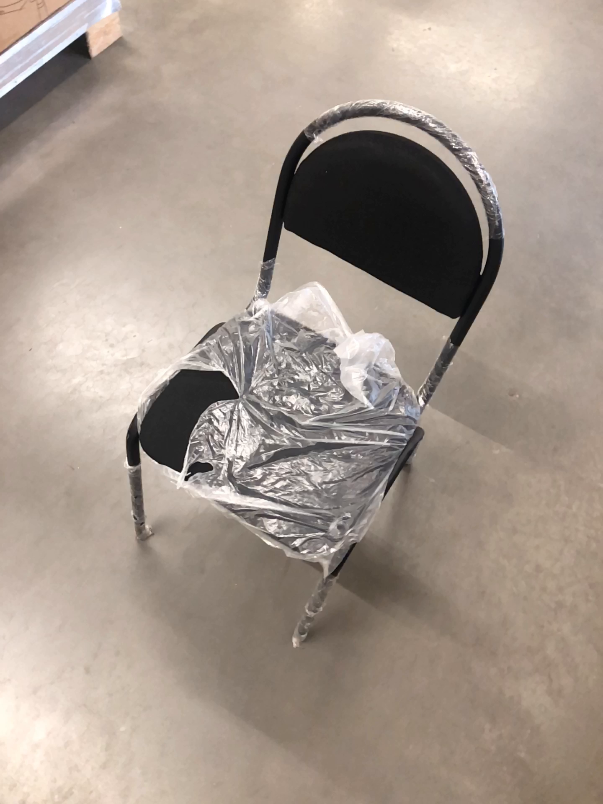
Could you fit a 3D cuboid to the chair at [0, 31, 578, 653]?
[{"bbox_3d":[-0.016,0.000,1.139,0.450,0.876,0.552,30,64,12],"label":"chair"}]
